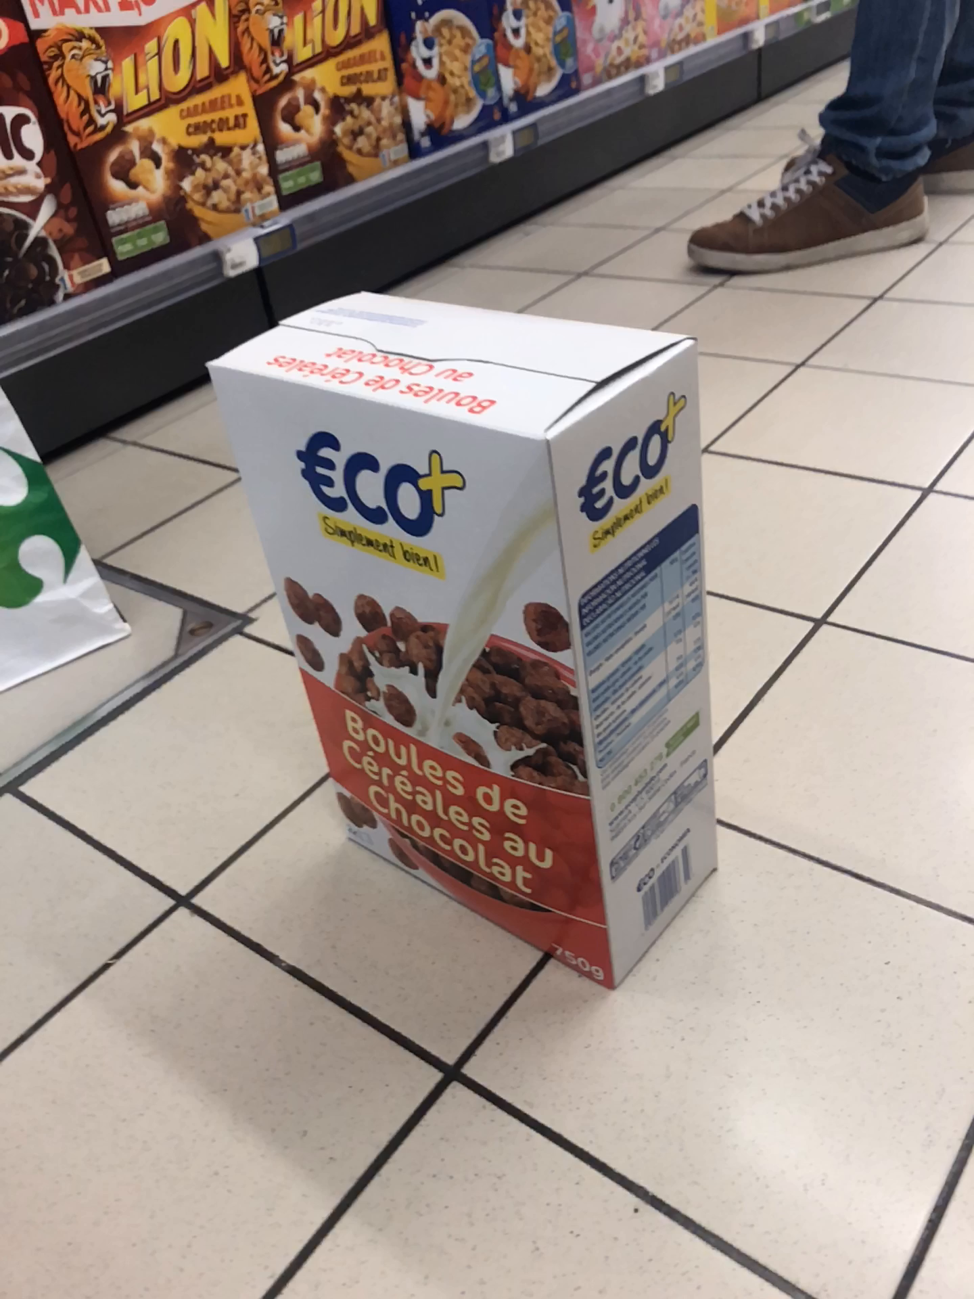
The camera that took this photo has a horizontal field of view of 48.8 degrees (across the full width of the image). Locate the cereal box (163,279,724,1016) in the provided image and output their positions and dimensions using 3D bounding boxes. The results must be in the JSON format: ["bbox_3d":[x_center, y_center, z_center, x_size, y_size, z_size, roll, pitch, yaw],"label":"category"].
[{"bbox_3d":[-0.009,-0.004,0.516,0.210,0.298,0.101,21,45,38],"label":"cereal box"}]
